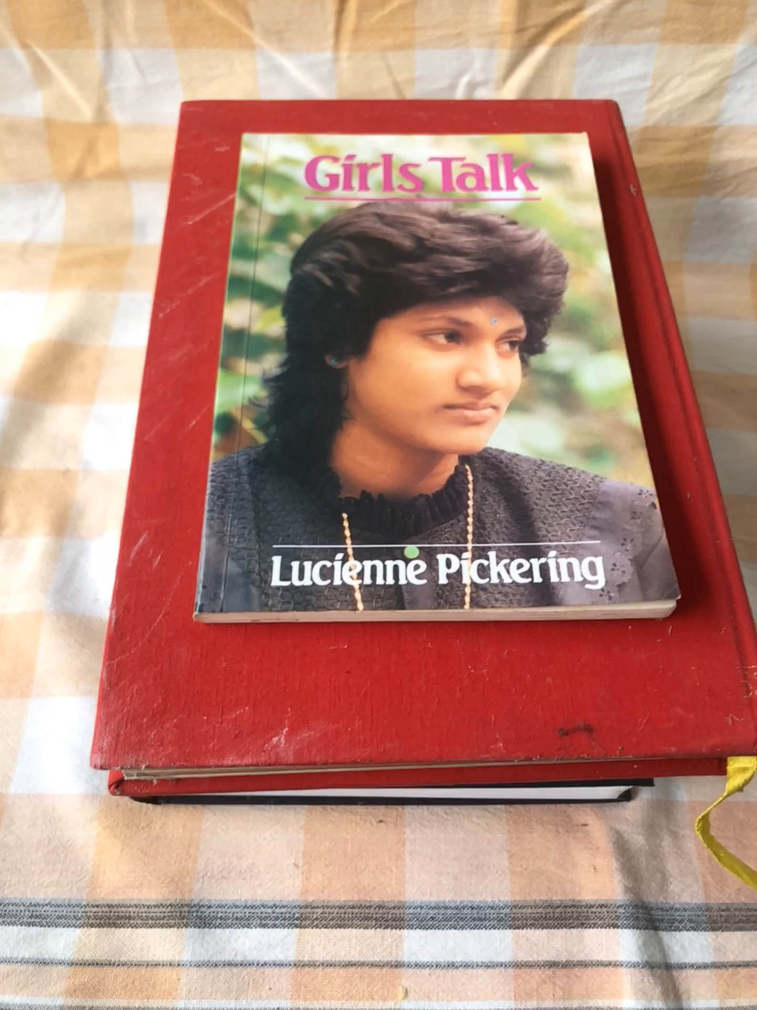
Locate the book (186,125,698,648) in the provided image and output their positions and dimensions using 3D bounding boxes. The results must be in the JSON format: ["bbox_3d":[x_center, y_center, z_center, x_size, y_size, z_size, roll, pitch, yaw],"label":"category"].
[{"bbox_3d":[0.015,-0.048,0.269,0.130,0.025,0.182,-1,62,-1],"label":"book"}]

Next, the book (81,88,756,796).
[{"bbox_3d":[0.013,-0.041,0.275,0.174,0.031,0.249,-1,61,-1],"label":"book"}]
